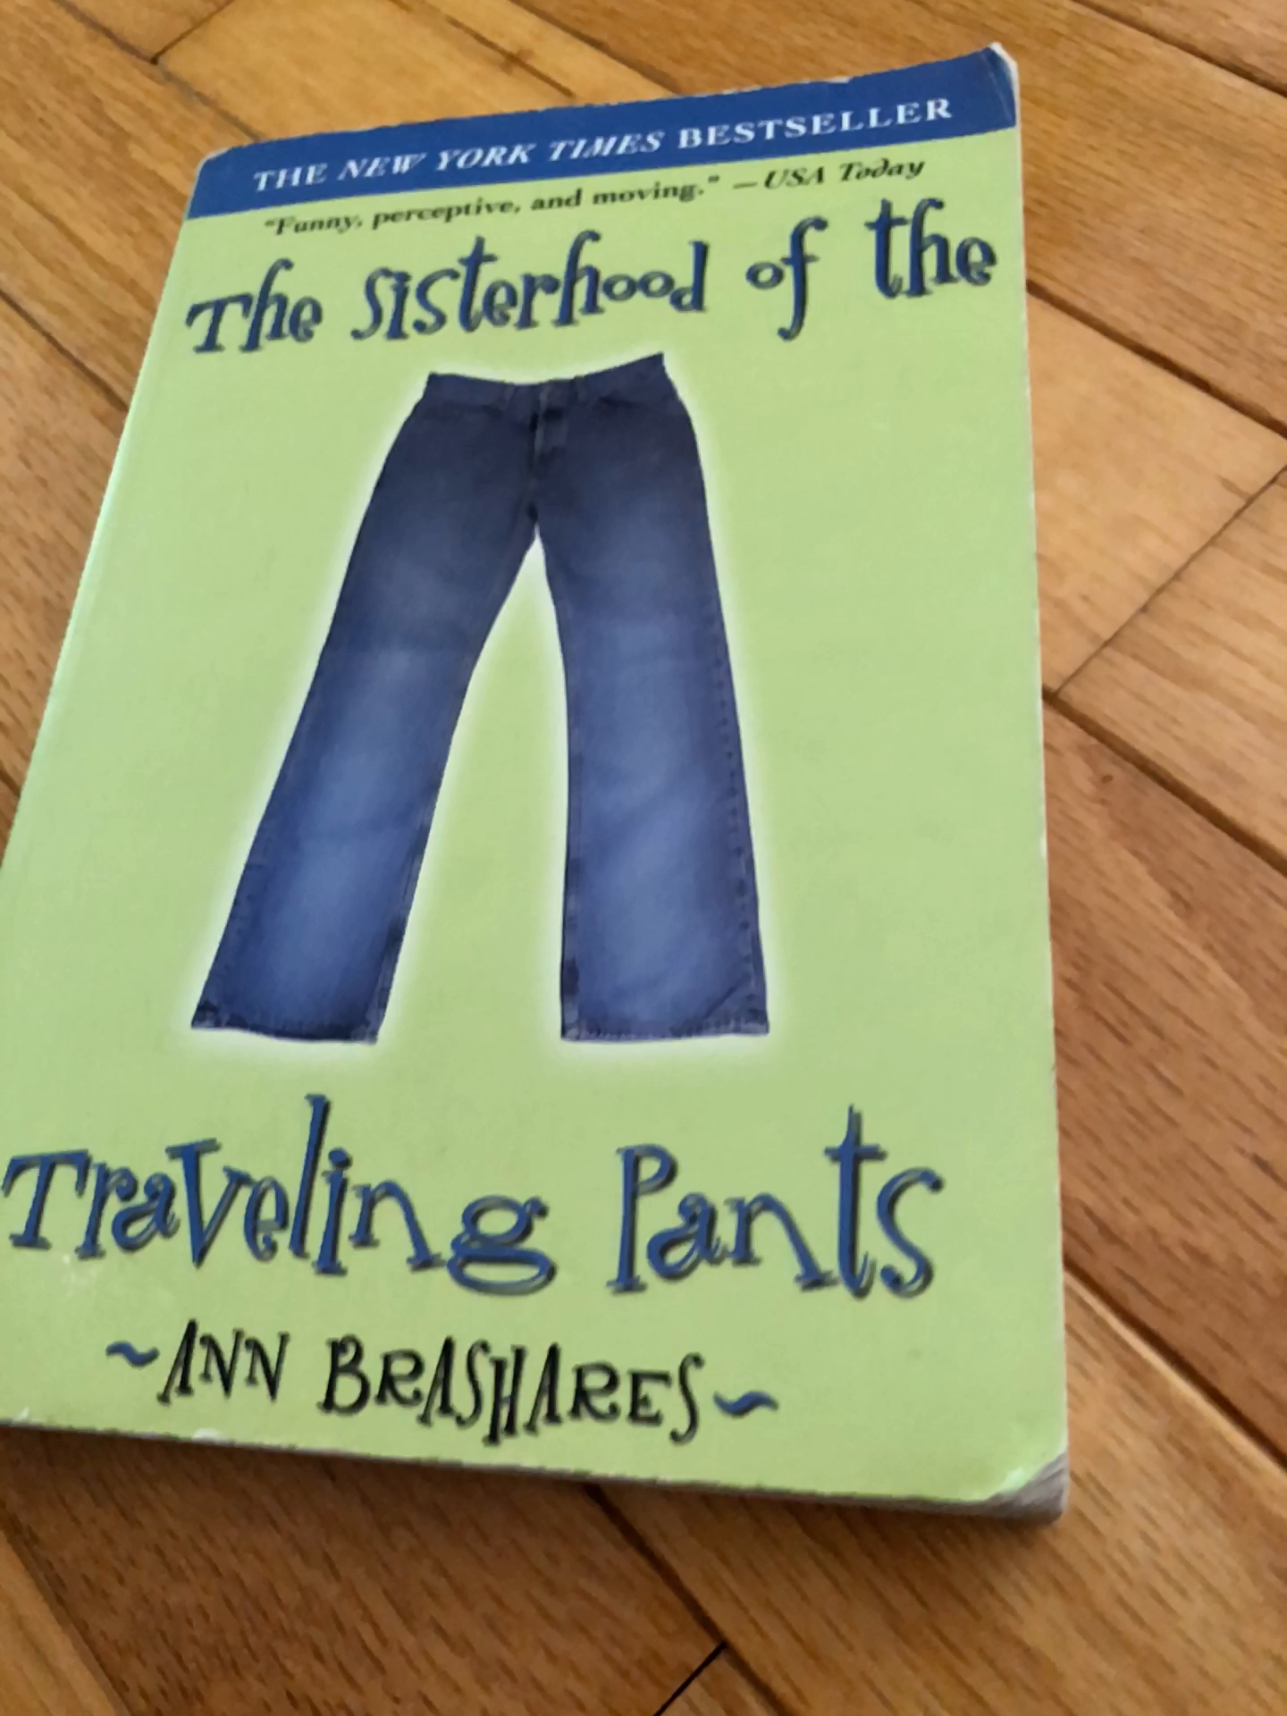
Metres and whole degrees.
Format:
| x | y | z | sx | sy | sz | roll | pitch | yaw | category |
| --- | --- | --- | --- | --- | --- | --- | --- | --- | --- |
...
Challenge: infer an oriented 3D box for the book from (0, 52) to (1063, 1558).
| x | y | z | sx | sy | sz | roll | pitch | yaw | category |
| --- | --- | --- | --- | --- | --- | --- | --- | --- | --- |
| -0.020 | -0.025 | 0.202 | 0.141 | 0.025 | 0.210 | 0 | 64 | 11 | book |
